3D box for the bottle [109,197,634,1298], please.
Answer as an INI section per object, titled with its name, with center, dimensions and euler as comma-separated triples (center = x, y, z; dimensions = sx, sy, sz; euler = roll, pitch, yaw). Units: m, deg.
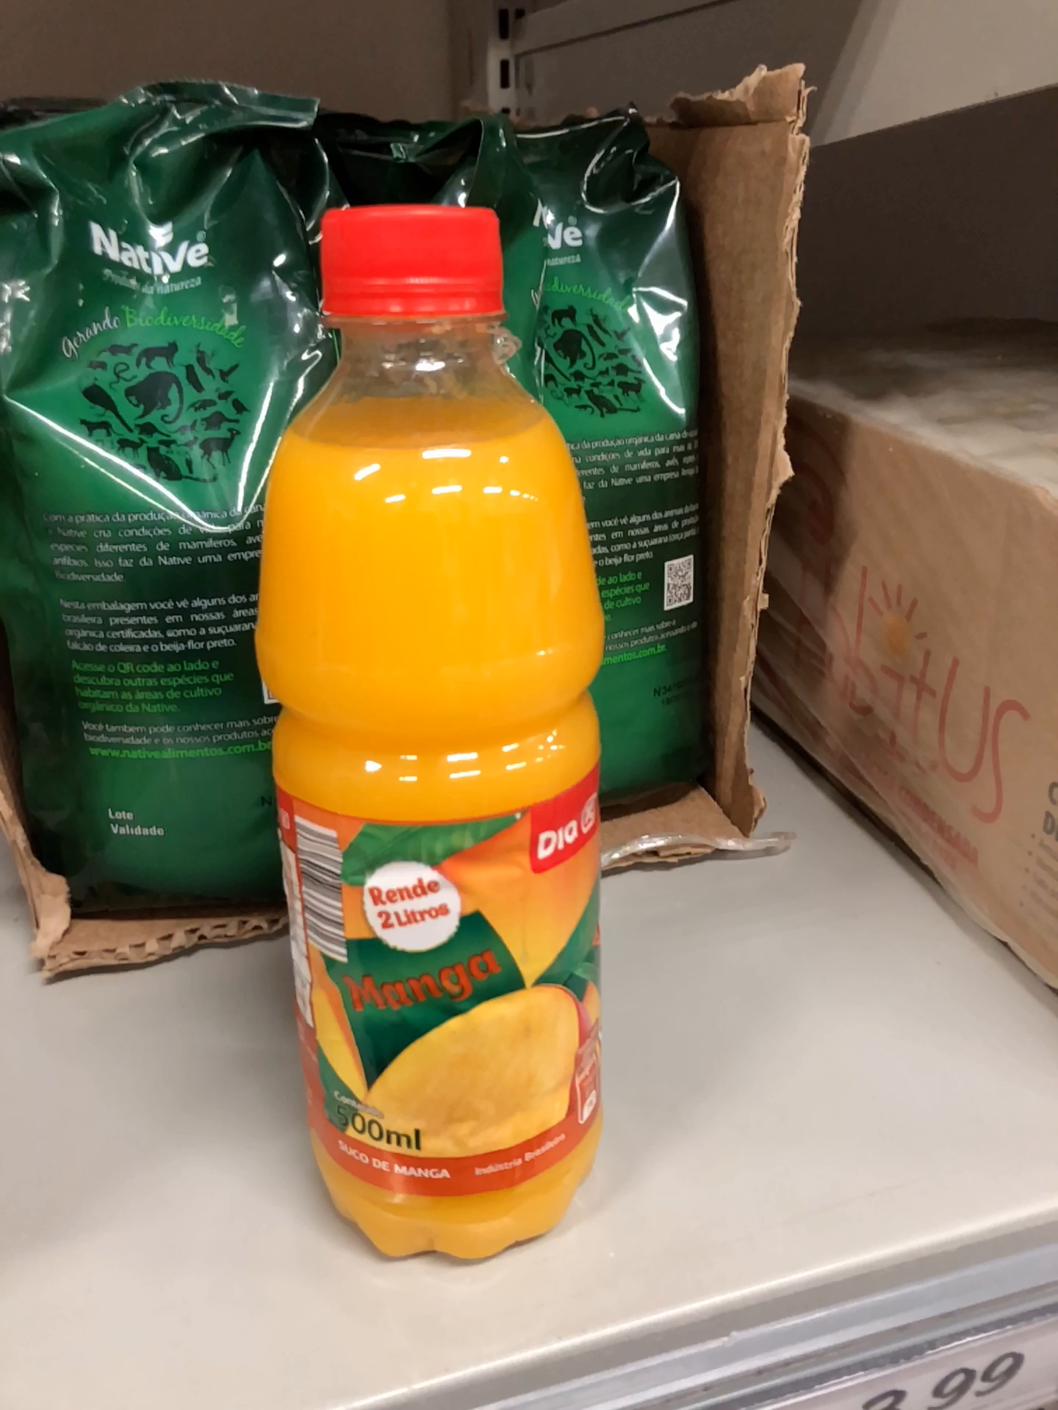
[bottle]
center = -0.017, 0.013, 0.224
dimensions = 0.070, 0.199, 0.060
euler = 1, 23, 7
